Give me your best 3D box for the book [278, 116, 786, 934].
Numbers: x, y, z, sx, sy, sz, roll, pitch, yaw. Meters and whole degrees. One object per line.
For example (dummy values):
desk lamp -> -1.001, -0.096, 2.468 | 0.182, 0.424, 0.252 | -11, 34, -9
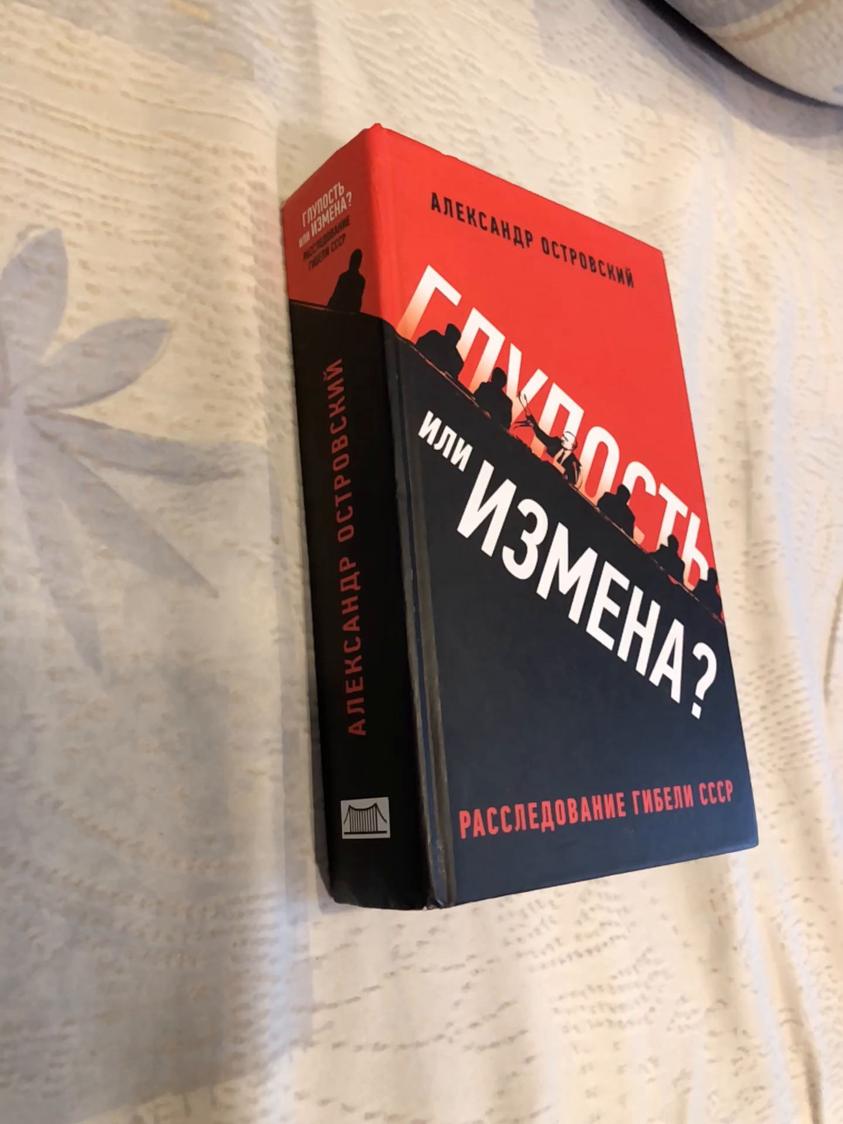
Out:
book -> 0.033, -0.007, 0.280 | 0.136, 0.050, 0.200 | 7, 72, -39
